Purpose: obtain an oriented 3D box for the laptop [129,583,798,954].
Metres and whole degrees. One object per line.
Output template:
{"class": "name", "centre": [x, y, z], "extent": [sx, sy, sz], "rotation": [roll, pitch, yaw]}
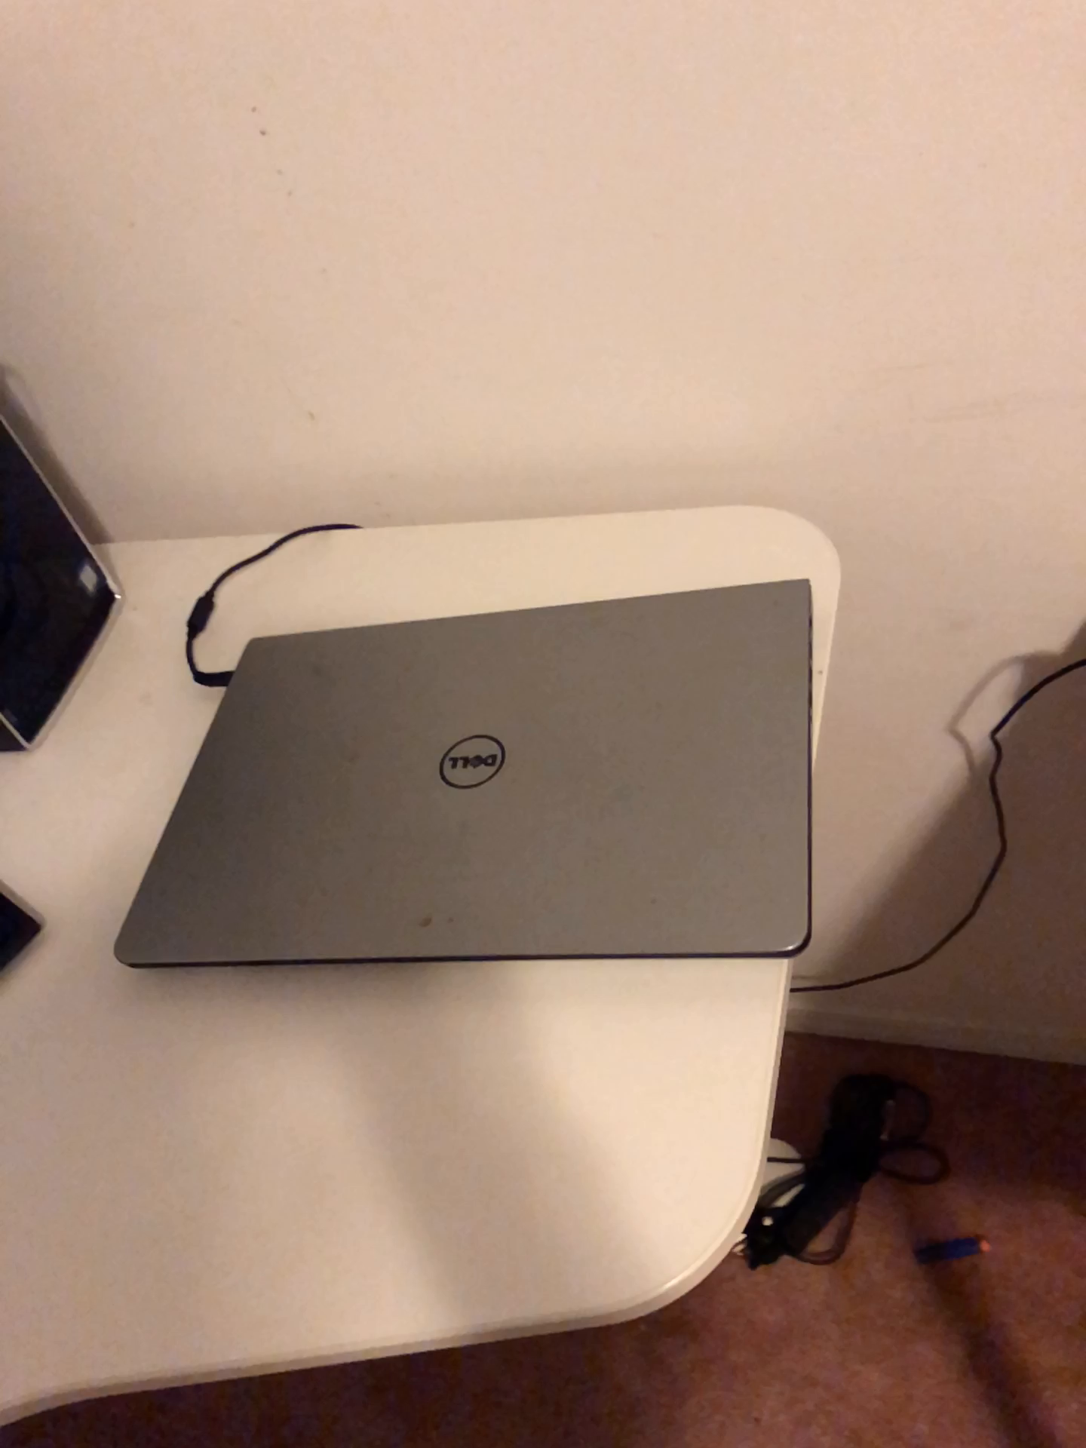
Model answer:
{"class": "laptop", "centre": [-0.041, 0.023, 0.688], "extent": [0.371, 0.001, 0.248], "rotation": [-5, 48, 19]}
